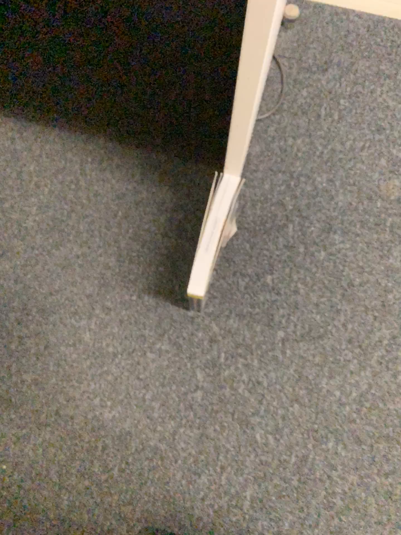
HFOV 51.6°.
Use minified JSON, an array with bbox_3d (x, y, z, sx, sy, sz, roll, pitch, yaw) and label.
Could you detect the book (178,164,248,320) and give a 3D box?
[{"bbox_3d":[0.020,-0.026,0.760,0.051,0.277,0.211,15,78,3],"label":"book"}]
